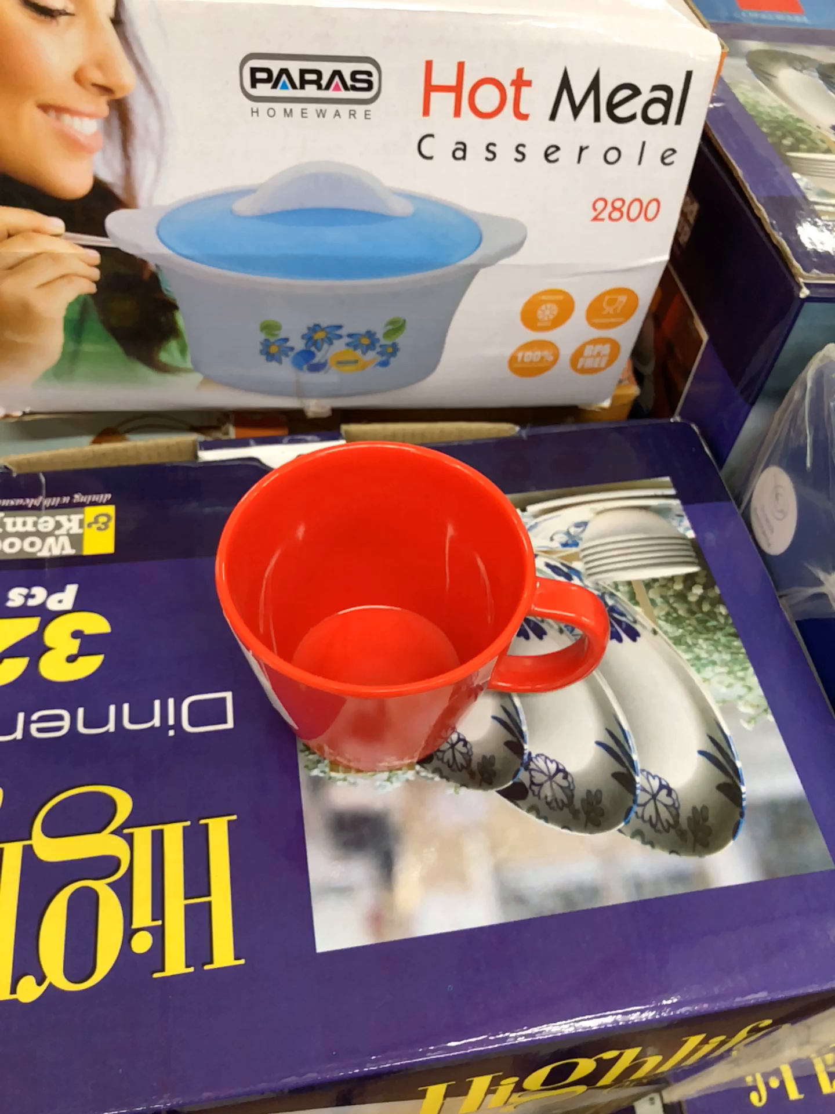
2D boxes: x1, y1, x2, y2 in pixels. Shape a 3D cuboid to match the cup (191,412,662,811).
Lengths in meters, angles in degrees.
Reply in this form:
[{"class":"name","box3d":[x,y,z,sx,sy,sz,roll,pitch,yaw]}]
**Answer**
[{"class":"cup","box3d":[-0.004,0.011,0.242,0.100,0.050,0.080,-5,53,-11]}]
